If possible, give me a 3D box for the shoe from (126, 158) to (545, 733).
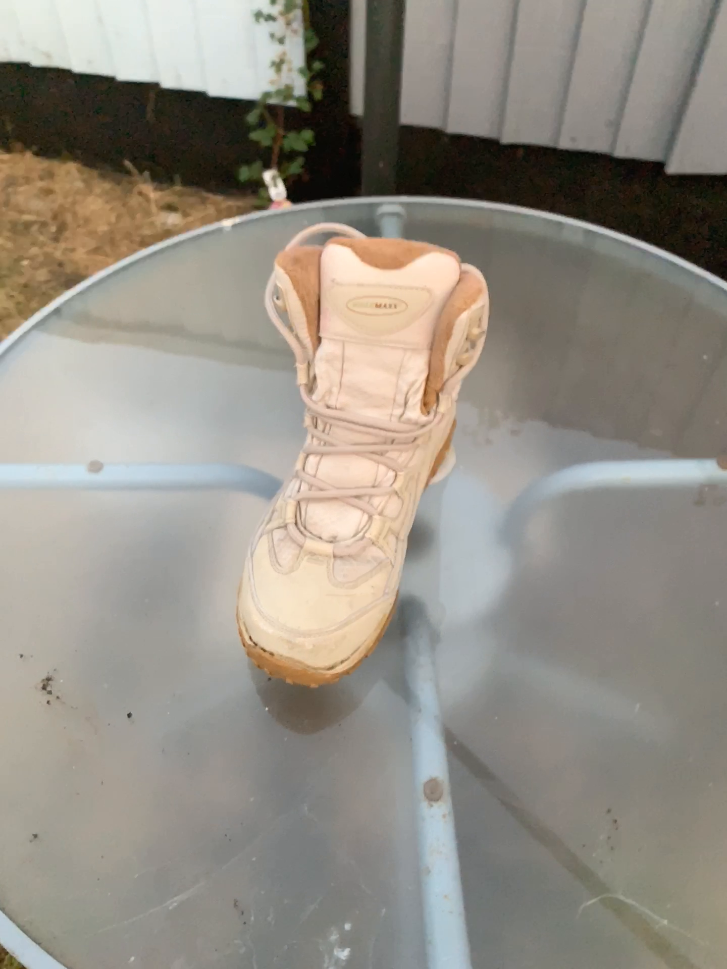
[{"bbox_3d":[0.005,-0.033,0.468,0.120,0.198,0.282,16,52,14],"label":"shoe"}]
